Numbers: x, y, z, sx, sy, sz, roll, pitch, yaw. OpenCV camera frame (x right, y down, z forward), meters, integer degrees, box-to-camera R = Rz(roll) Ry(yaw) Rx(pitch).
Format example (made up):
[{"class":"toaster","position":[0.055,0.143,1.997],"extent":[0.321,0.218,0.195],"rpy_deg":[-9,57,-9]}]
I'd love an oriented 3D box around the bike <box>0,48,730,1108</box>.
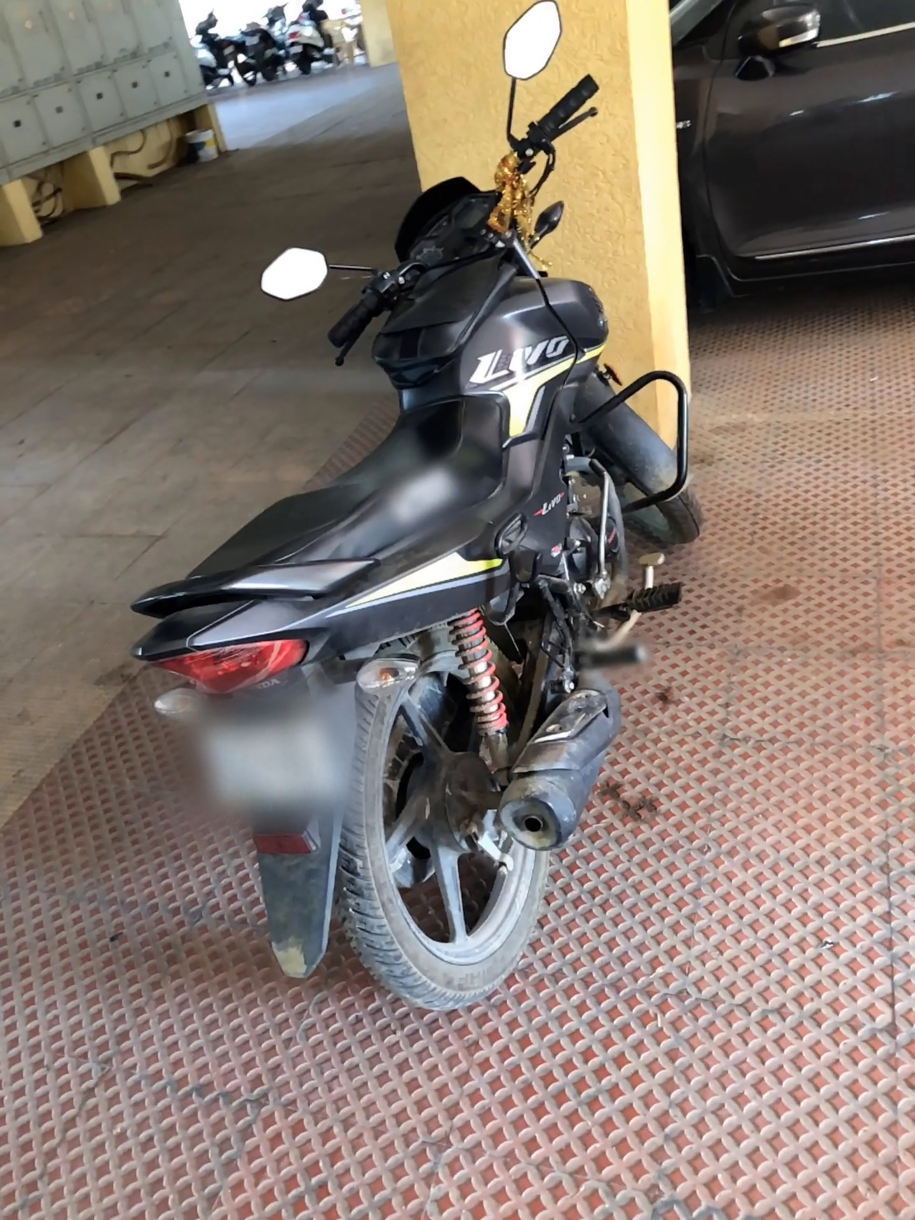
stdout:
[{"class":"bike","position":[0.008,-0.228,1.827],"extent":[0.717,1.088,1.628],"rpy_deg":[2,36,22]}]
